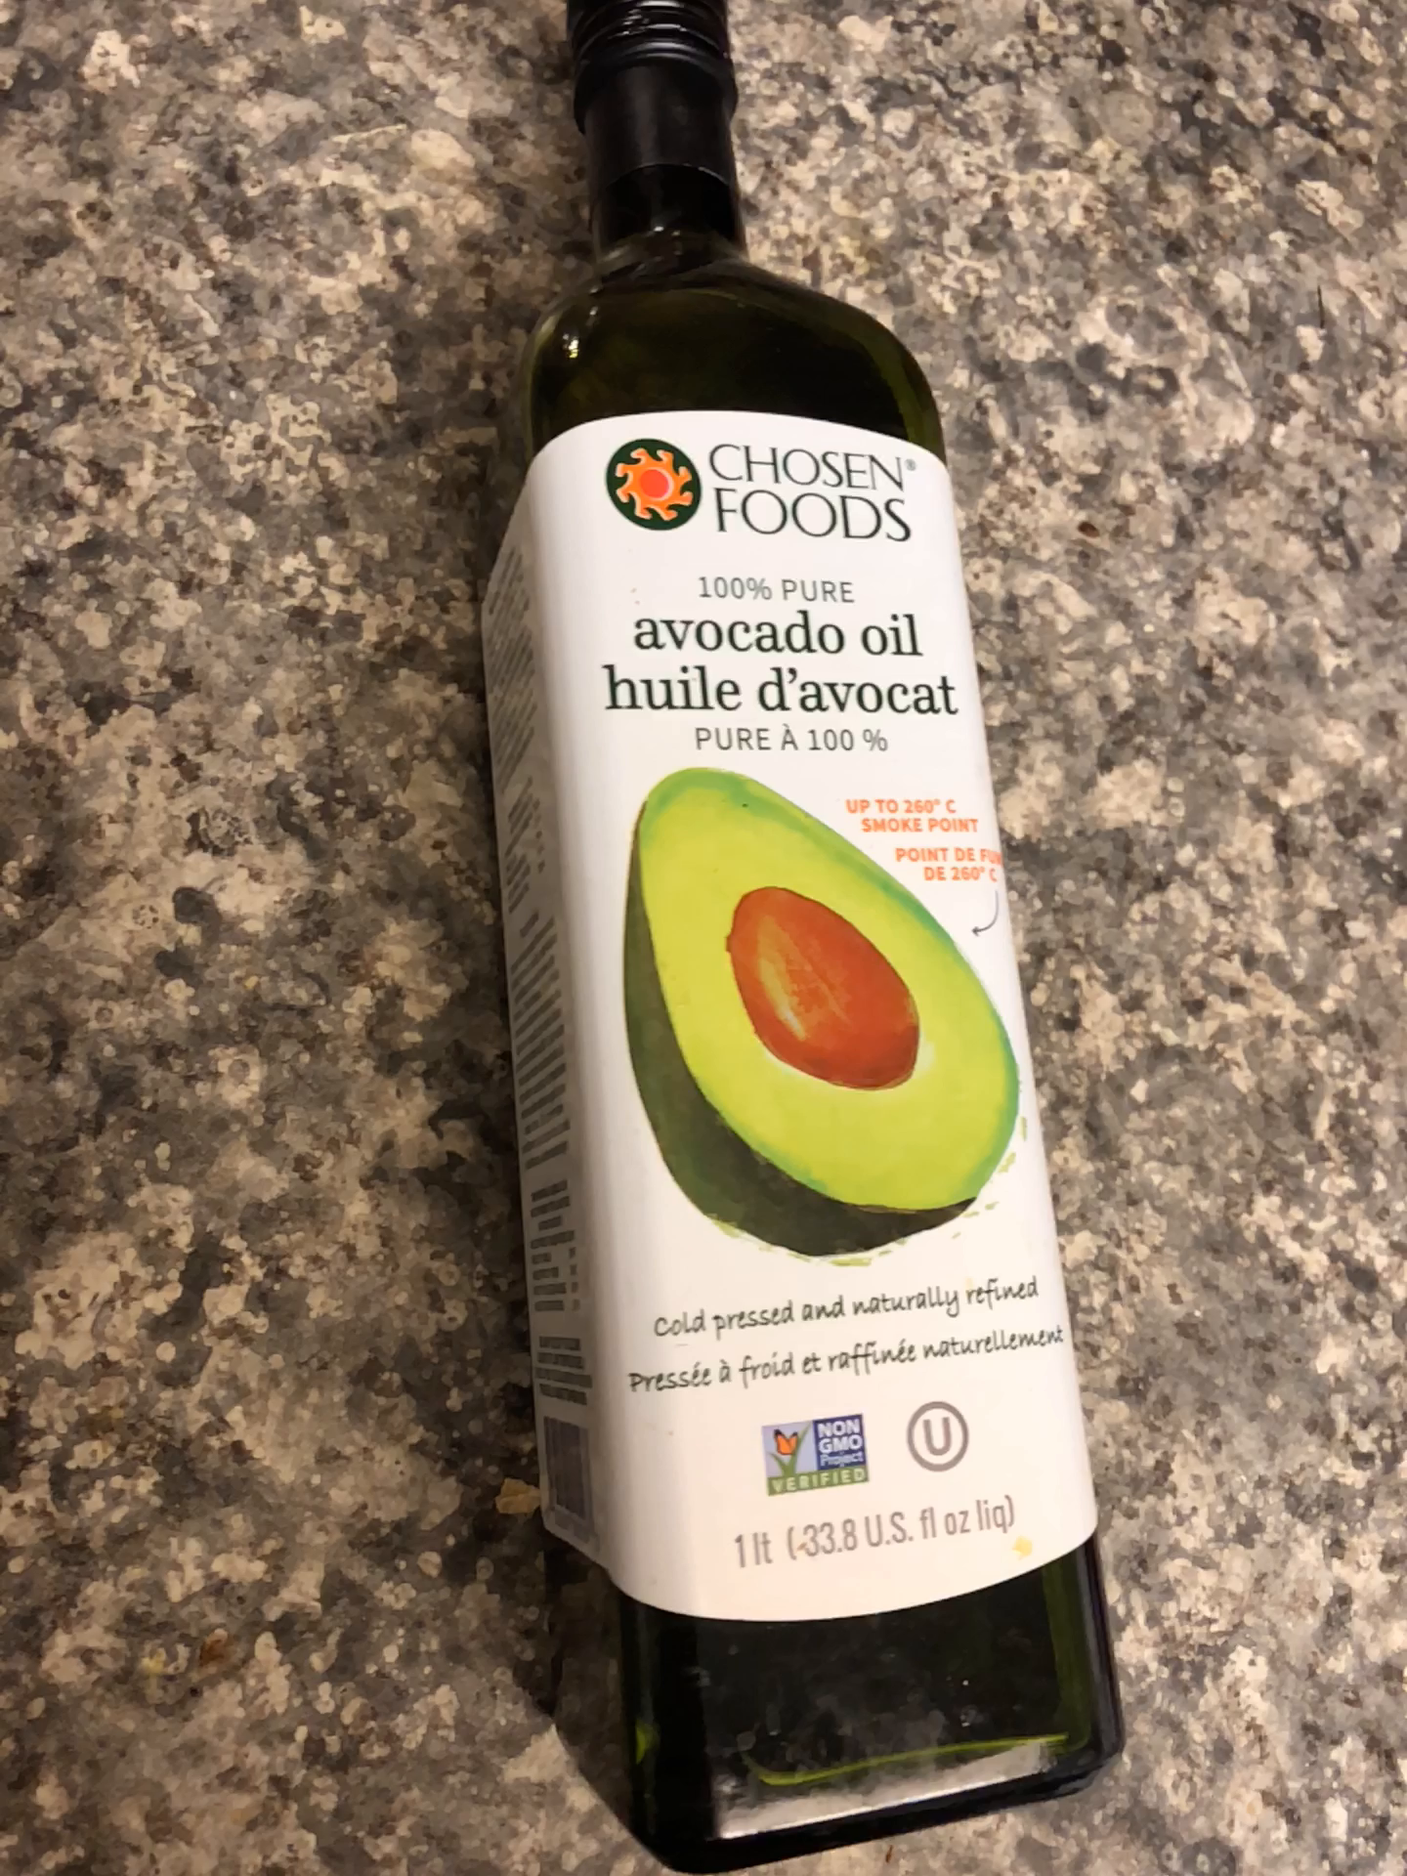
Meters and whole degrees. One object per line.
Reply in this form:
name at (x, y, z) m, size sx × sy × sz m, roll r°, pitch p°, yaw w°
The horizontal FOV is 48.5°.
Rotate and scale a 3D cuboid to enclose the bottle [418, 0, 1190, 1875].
bottle at (0.004, -0.031, 0.262) m, size 0.080 × 0.070 × 0.320 m, roll -2°, pitch 79°, yaw -16°
